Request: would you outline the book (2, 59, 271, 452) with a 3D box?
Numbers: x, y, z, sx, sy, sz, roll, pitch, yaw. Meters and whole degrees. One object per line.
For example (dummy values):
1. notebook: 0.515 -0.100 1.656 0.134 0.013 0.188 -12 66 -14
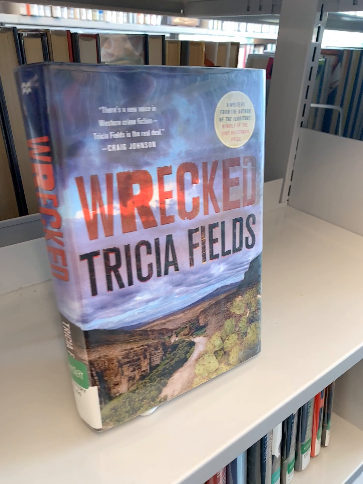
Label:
1. book: -0.010 0.004 0.242 0.150 0.213 0.034 -15 22 -30
